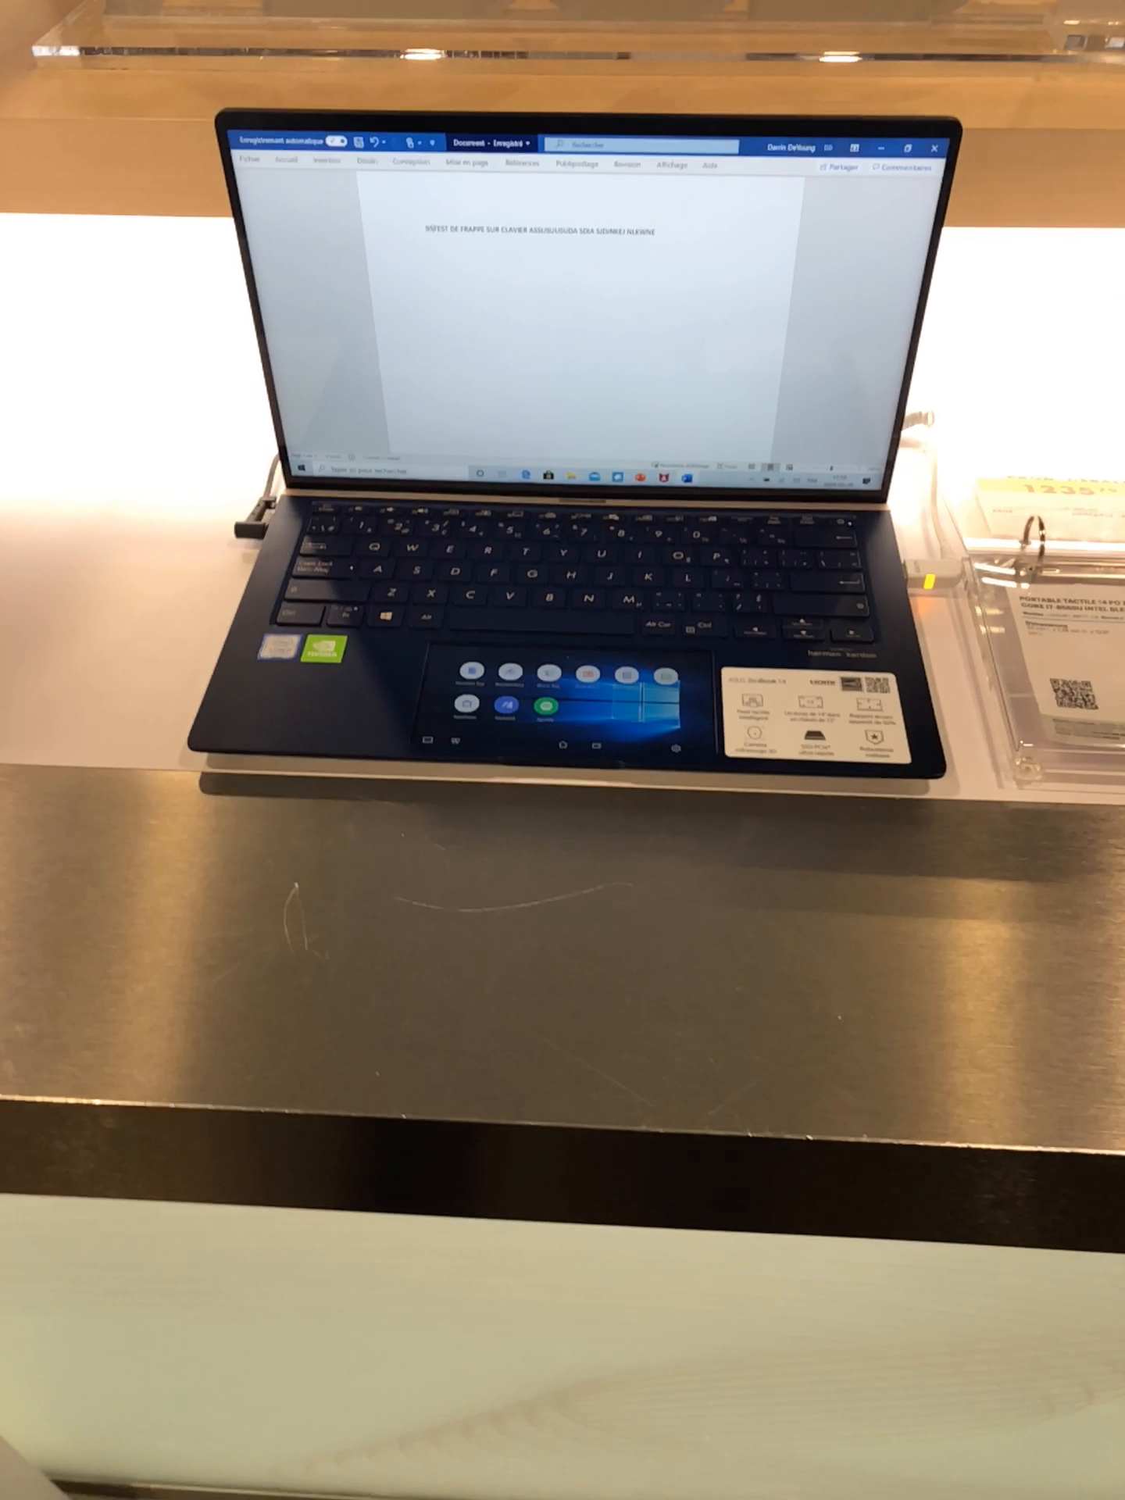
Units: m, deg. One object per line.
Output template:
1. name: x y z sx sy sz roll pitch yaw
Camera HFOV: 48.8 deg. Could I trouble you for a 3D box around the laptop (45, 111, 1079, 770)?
1. laptop: 0.003 -0.133 0.520 0.317 0.193 0.200 2 45 3
